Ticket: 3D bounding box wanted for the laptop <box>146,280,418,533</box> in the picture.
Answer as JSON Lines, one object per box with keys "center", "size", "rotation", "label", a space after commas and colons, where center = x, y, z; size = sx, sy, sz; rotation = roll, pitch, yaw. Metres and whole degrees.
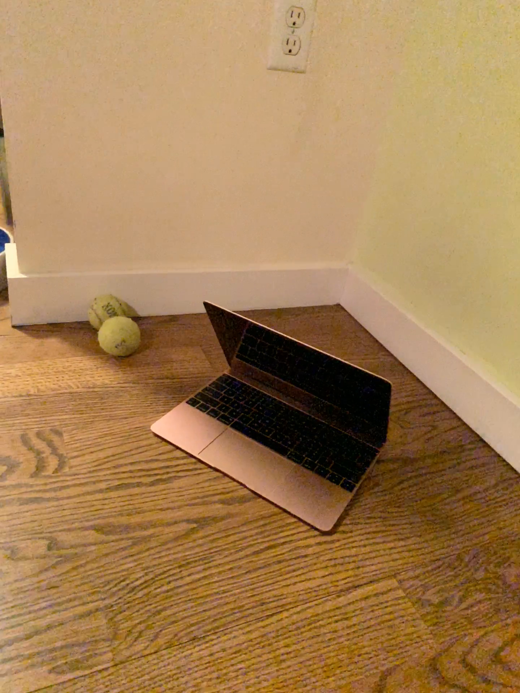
{"center": [0.025, 0.061, 0.740], "size": [0.288, 0.168, 0.207], "rotation": [24, 34, 23], "label": "laptop"}
